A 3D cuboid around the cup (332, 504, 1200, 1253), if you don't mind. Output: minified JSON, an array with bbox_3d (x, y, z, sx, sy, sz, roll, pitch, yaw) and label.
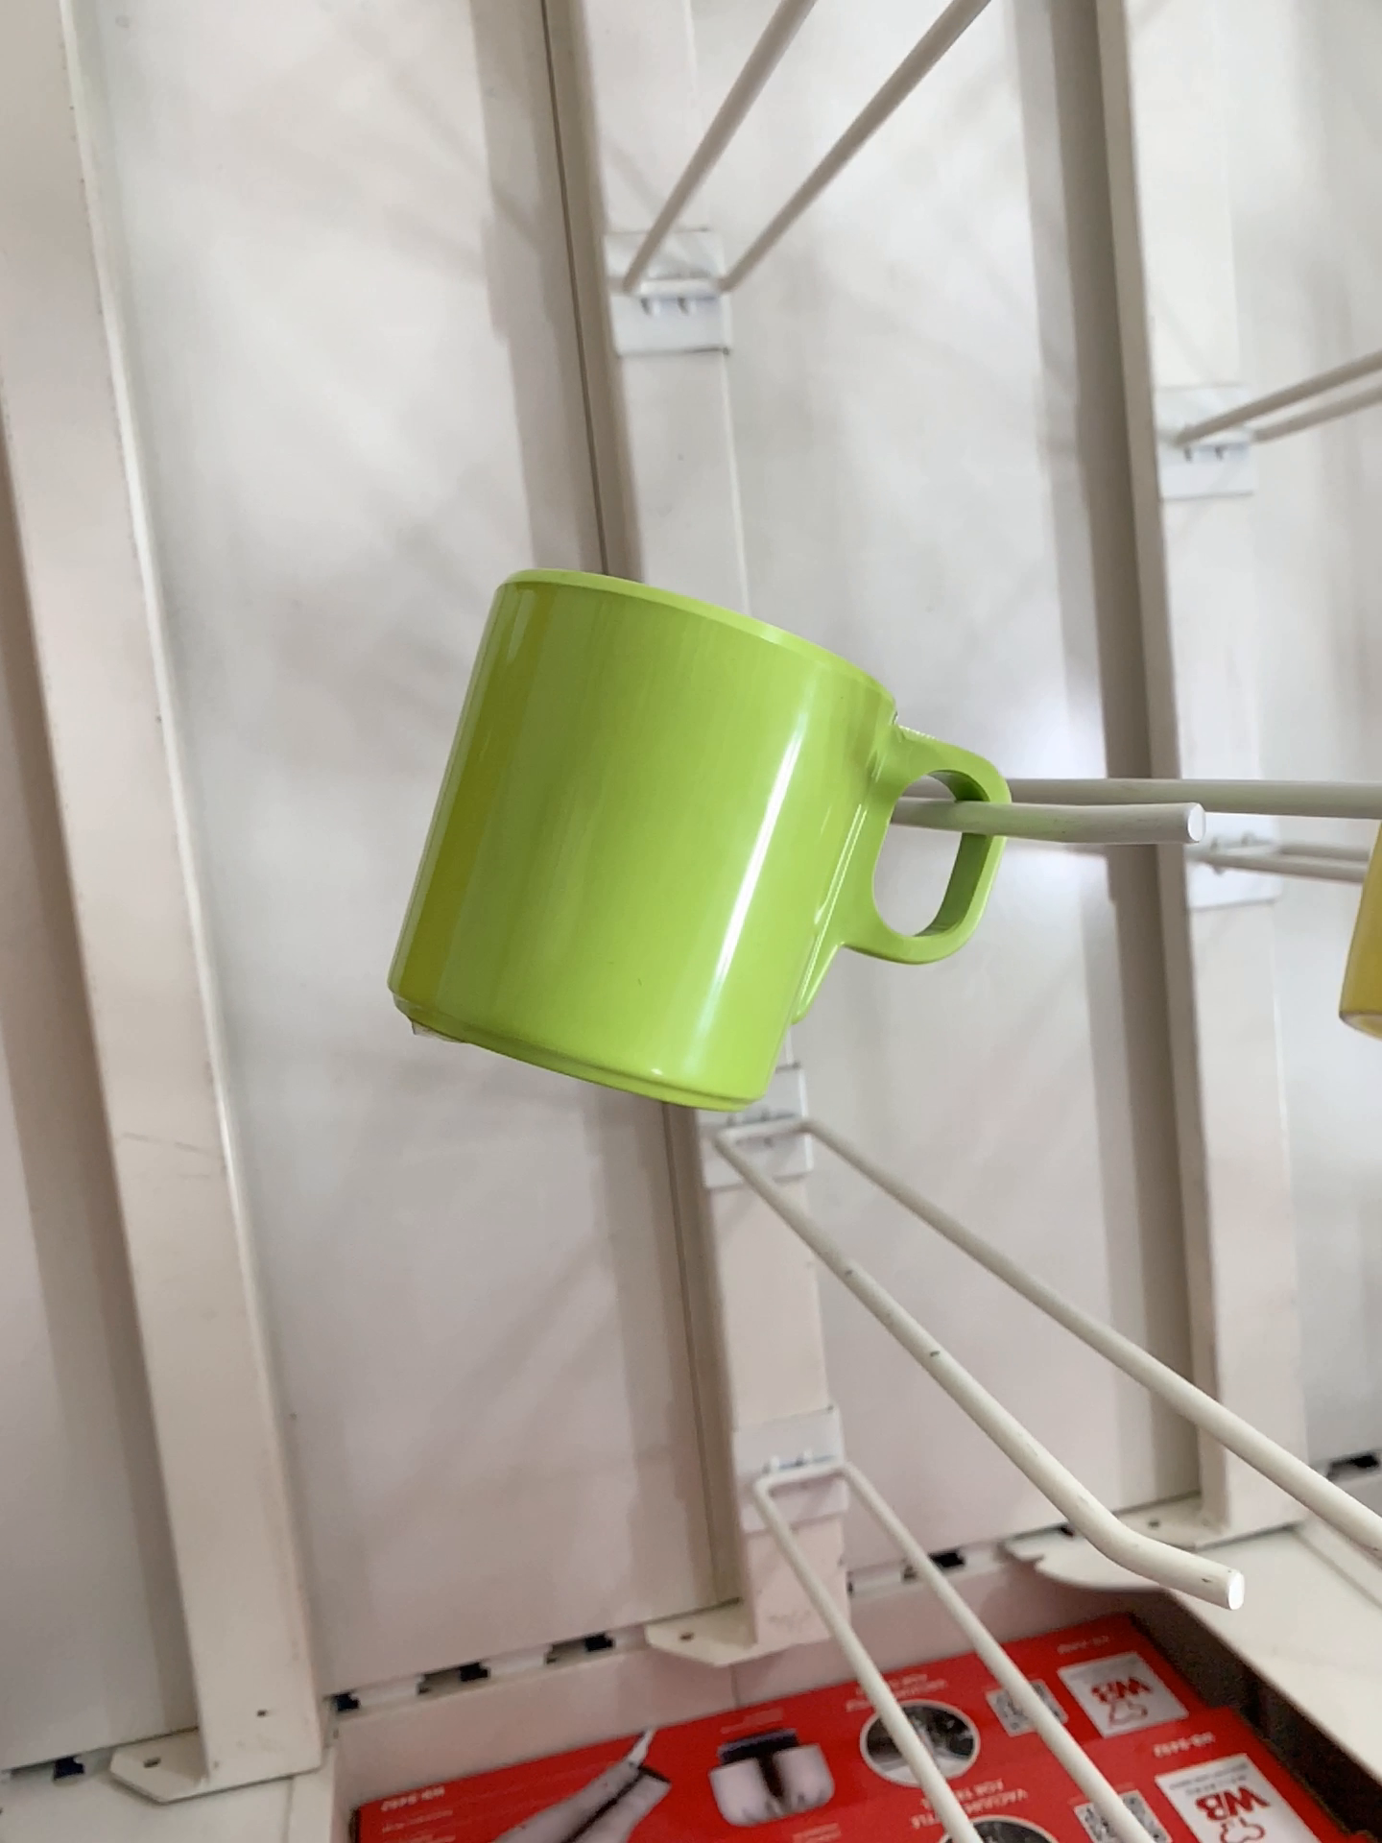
[{"bbox_3d":[0.005,-0.008,0.263,0.080,0.110,0.100,-70,-161,0],"label":"cup"}]
